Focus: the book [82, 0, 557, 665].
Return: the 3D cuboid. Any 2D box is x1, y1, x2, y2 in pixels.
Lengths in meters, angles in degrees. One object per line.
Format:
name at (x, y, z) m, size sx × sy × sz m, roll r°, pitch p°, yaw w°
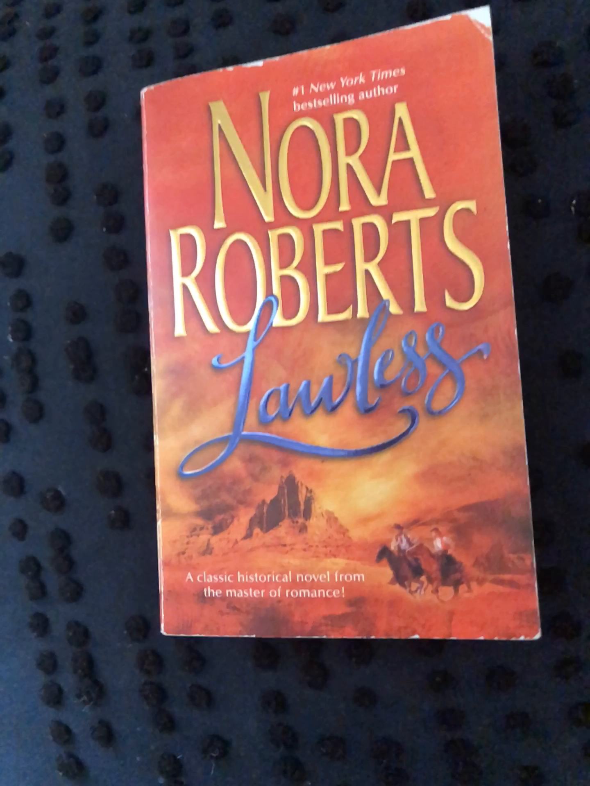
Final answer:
book at (0.003, -0.017, 0.200) m, size 0.120 × 0.040 × 0.180 m, roll -4°, pitch 85°, yaw 8°
